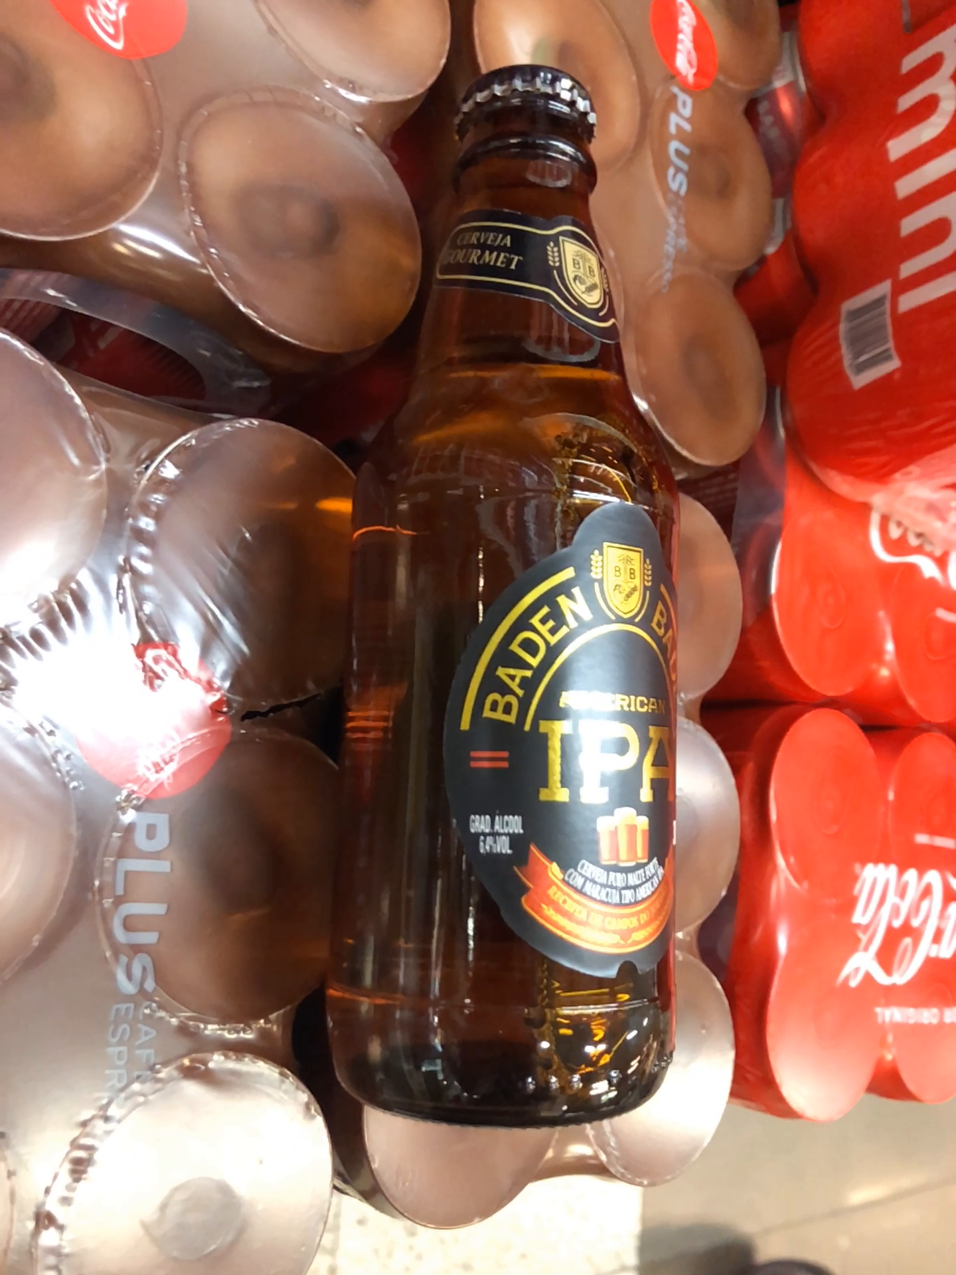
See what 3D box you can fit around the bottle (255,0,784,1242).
[{"bbox_3d":[0.010,-0.023,0.189,0.070,0.050,0.210,8,80,-37],"label":"bottle"}]
